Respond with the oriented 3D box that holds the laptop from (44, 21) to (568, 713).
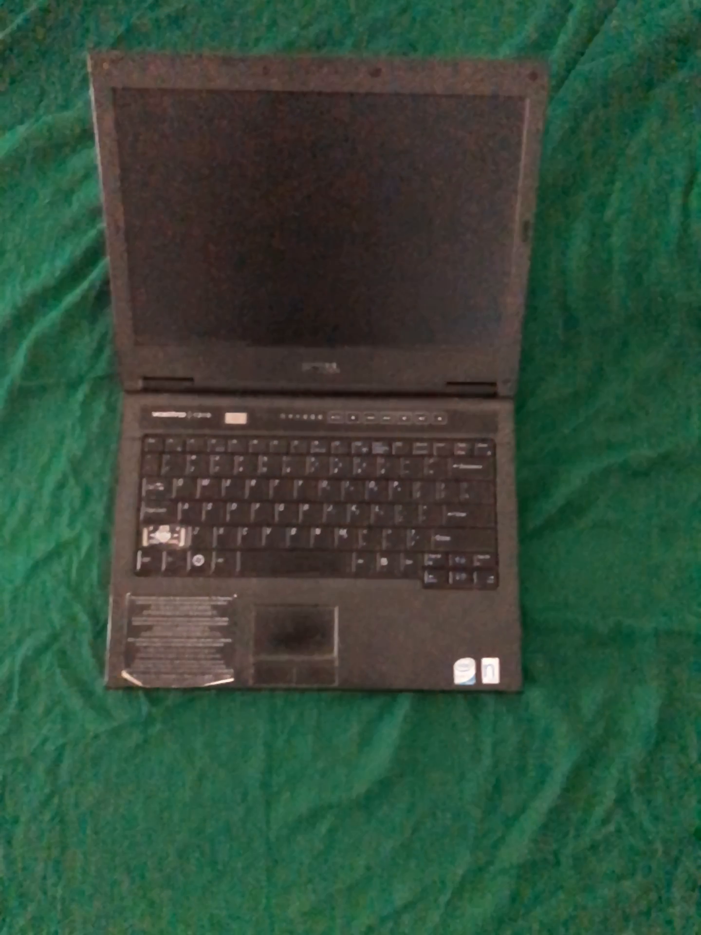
[{"bbox_3d":[-0.023,-0.060,0.549,0.313,0.127,0.438,1,84,1],"label":"laptop"}]
